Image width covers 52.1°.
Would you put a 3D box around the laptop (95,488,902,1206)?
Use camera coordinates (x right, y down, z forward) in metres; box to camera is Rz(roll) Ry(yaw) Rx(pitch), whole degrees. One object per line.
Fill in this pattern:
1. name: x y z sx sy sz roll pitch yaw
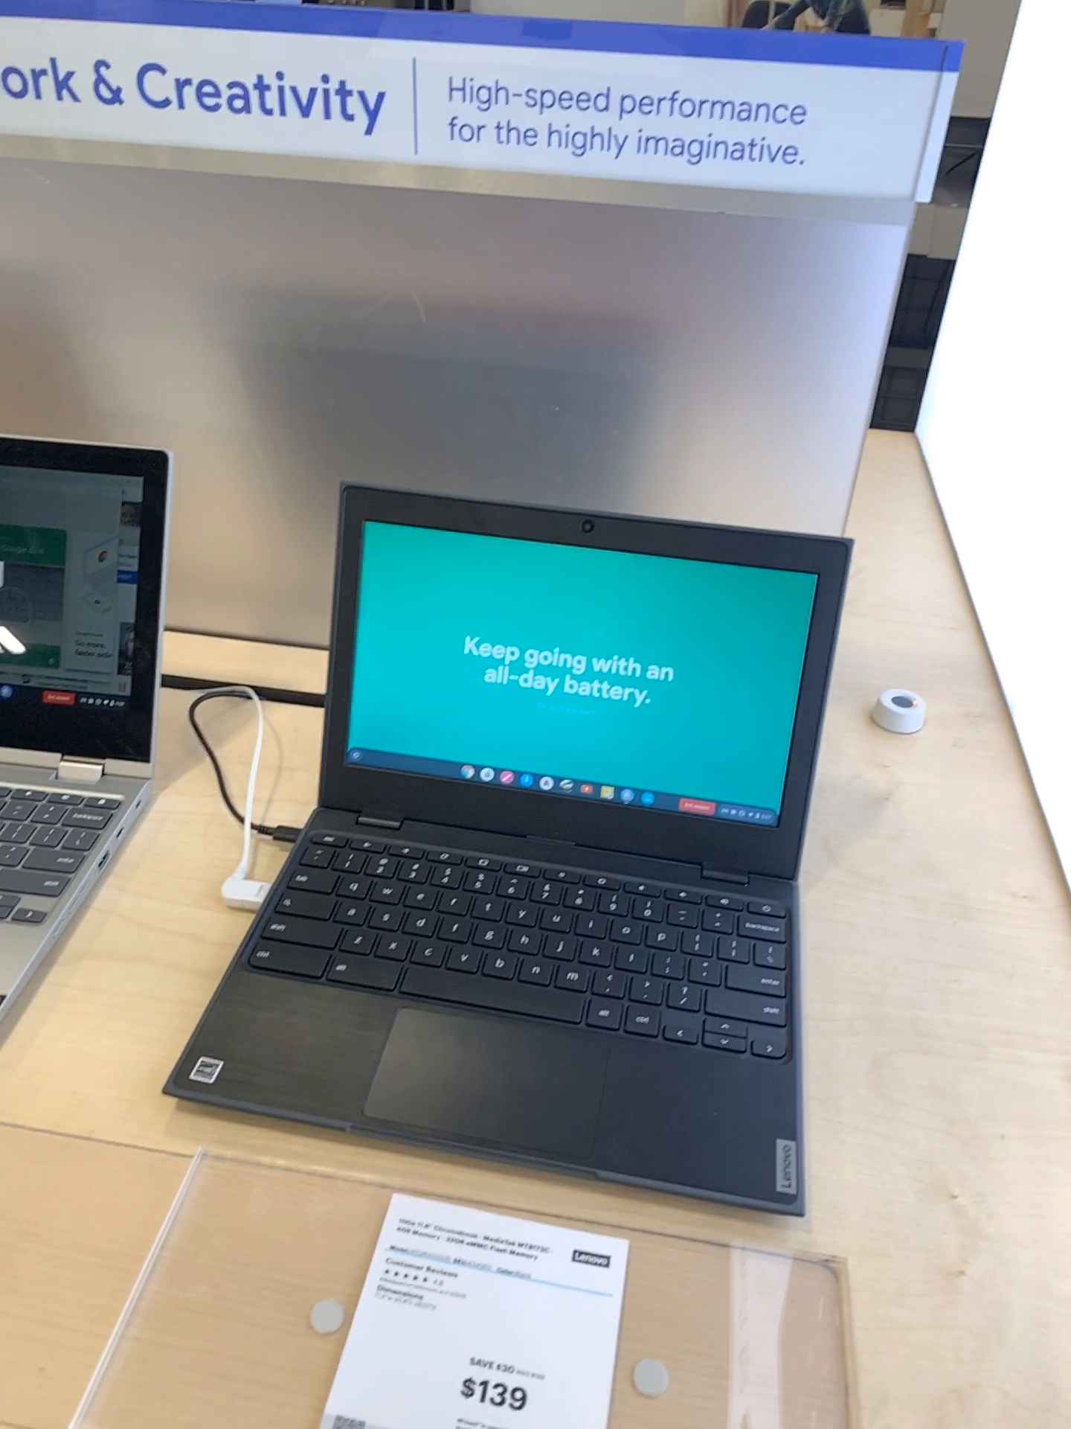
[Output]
1. laptop: 0.003 0.037 0.521 0.275 0.170 0.267 8 35 8
